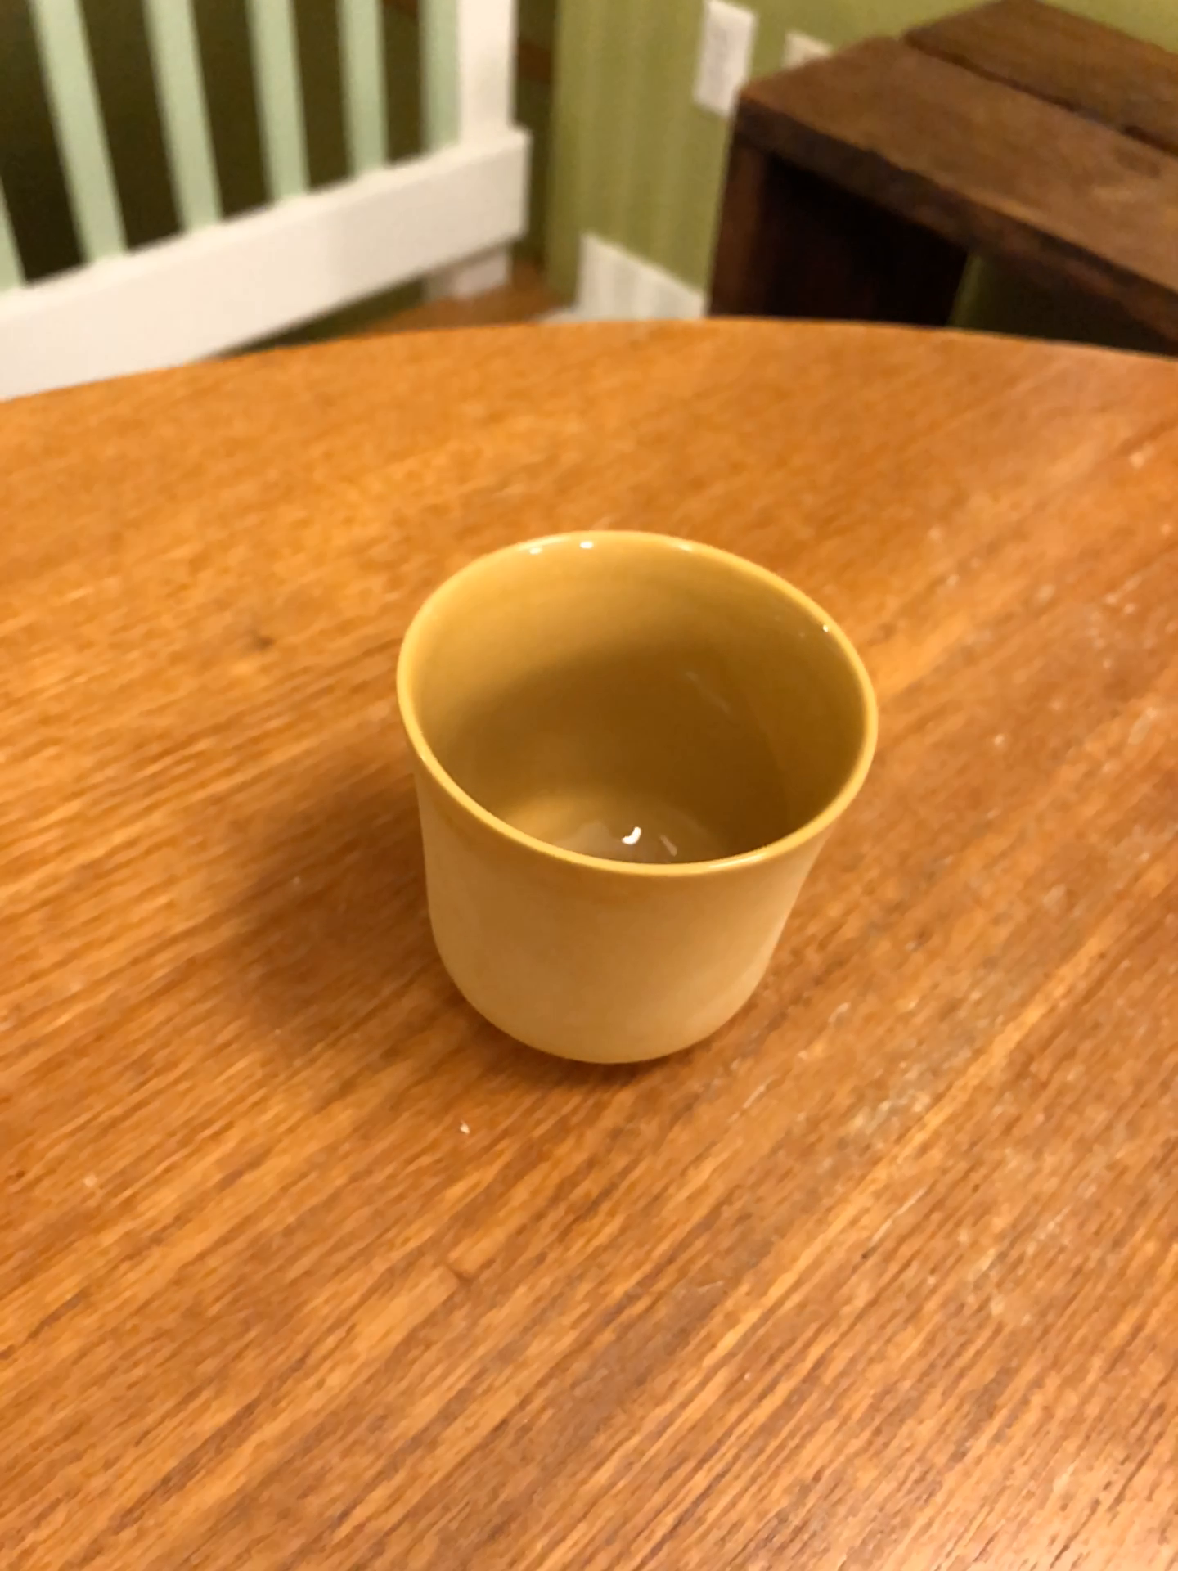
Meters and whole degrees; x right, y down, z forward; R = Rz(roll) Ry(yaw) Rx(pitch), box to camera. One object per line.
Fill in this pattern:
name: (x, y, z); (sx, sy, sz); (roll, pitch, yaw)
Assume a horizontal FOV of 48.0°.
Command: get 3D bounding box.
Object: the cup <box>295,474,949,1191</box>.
cup: (0.005, 0.007, 0.233); (0.077, 0.073, 0.074); (3, 48, -3)
